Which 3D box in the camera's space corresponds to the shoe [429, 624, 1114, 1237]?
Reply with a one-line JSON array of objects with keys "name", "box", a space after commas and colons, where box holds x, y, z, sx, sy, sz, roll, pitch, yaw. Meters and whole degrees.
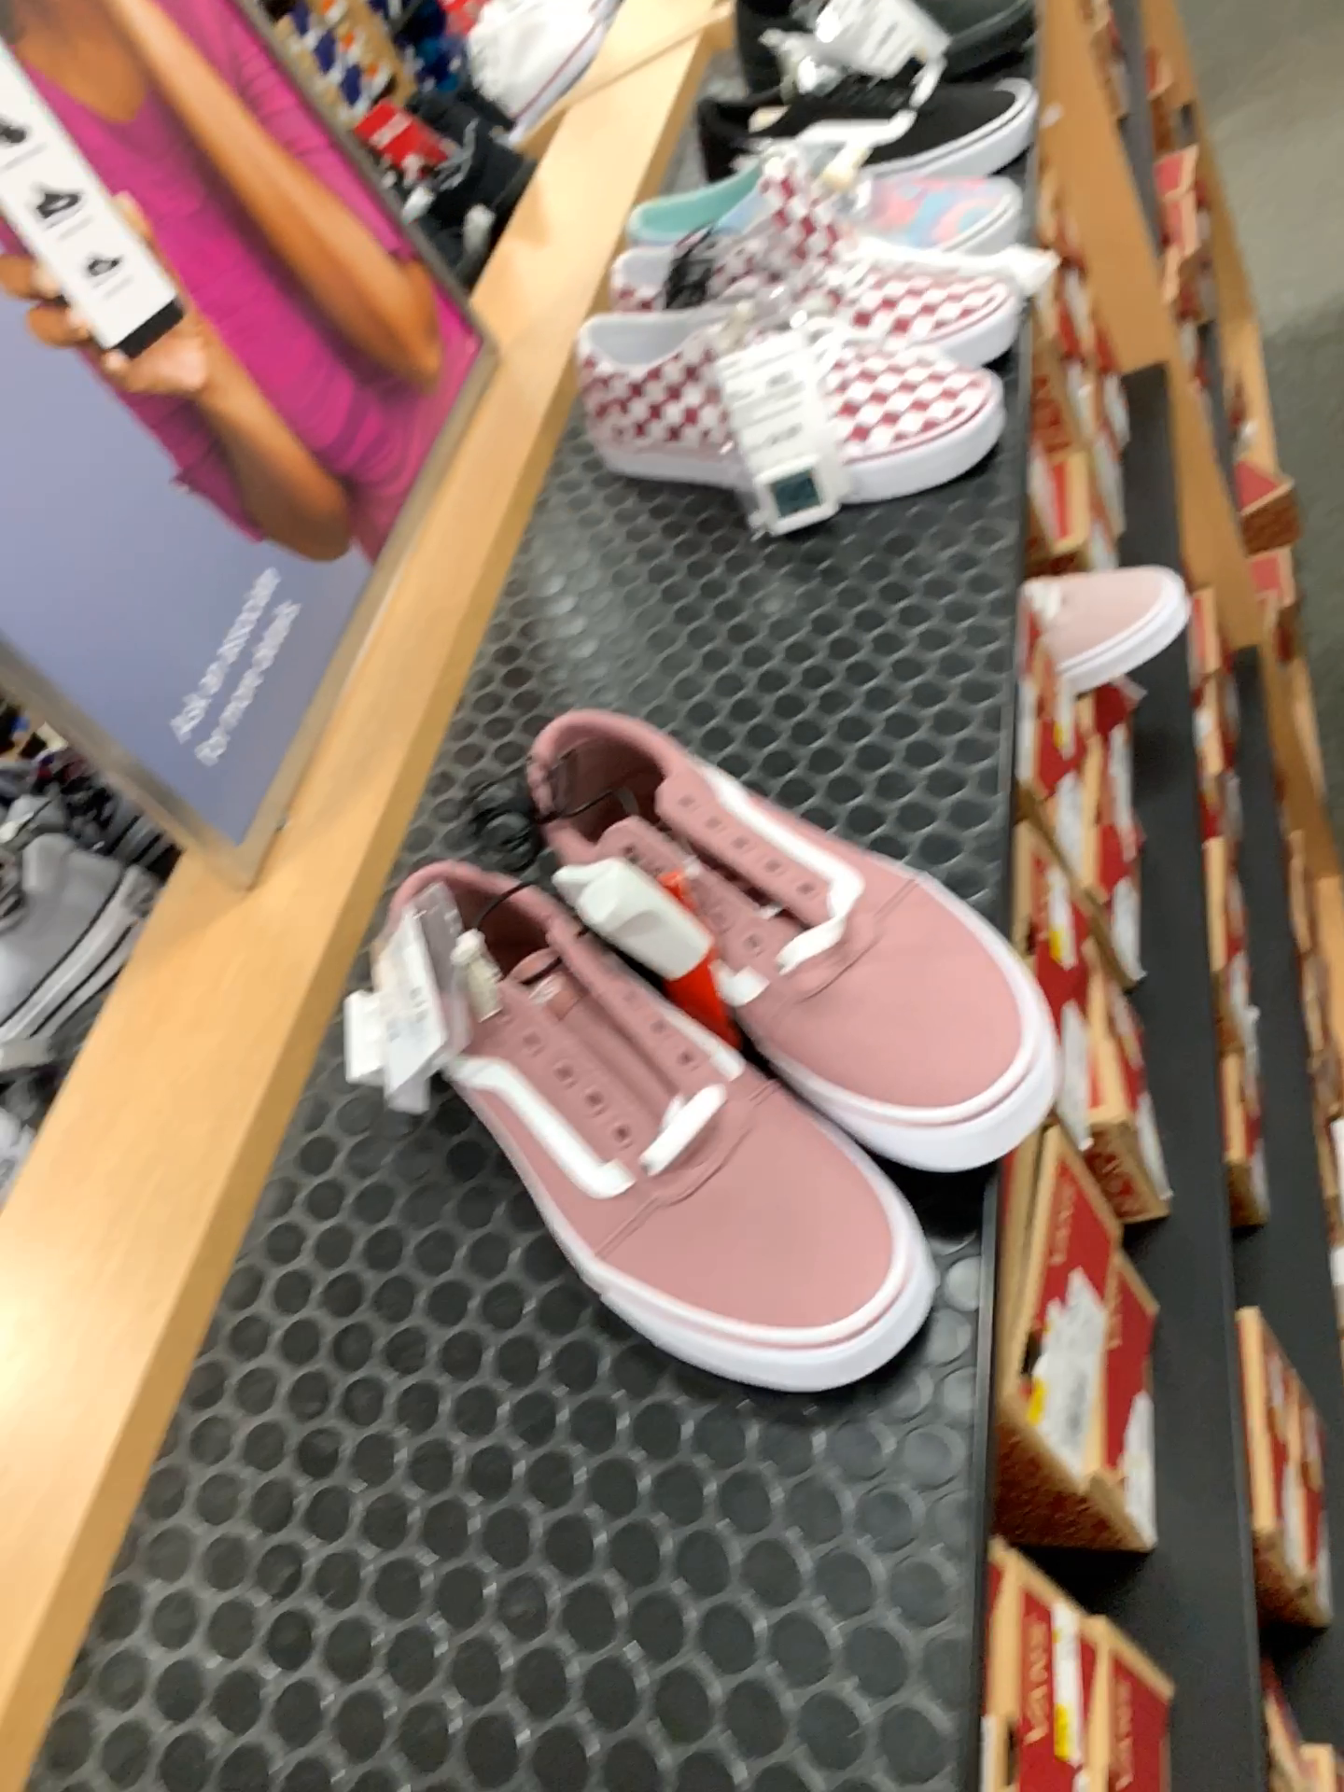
[{"name": "shoe", "box": [0.029, 0.001, 0.549, 0.100, 0.099, 0.261, -46, 47, -8]}]

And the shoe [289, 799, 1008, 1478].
[{"name": "shoe", "box": [-0.020, 0.076, 0.519, 0.100, 0.099, 0.261, -48, 47, -10]}]
